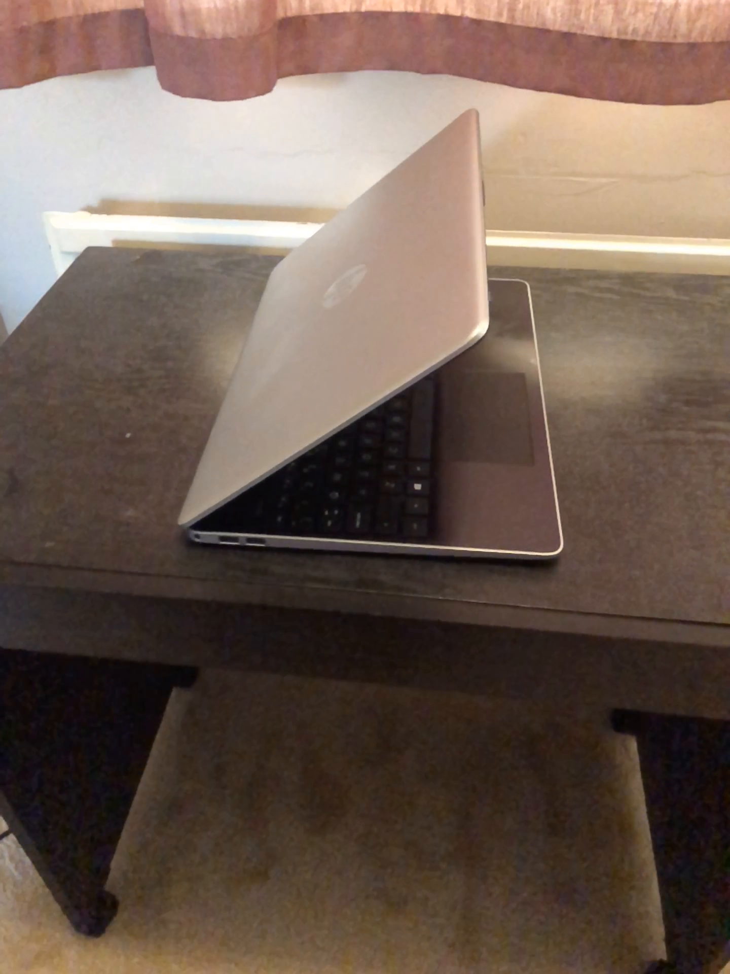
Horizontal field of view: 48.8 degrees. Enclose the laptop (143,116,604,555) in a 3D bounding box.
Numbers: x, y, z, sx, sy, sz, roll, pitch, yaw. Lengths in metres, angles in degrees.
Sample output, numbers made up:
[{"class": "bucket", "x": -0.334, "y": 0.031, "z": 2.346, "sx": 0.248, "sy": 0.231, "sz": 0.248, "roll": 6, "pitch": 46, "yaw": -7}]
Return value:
[{"class": "laptop", "x": 0.021, "y": -0.137, "z": 0.594, "sx": 0.236, "sy": 0.141, "sz": 0.363, "roll": 4, "pitch": 41, "yaw": 2}]
